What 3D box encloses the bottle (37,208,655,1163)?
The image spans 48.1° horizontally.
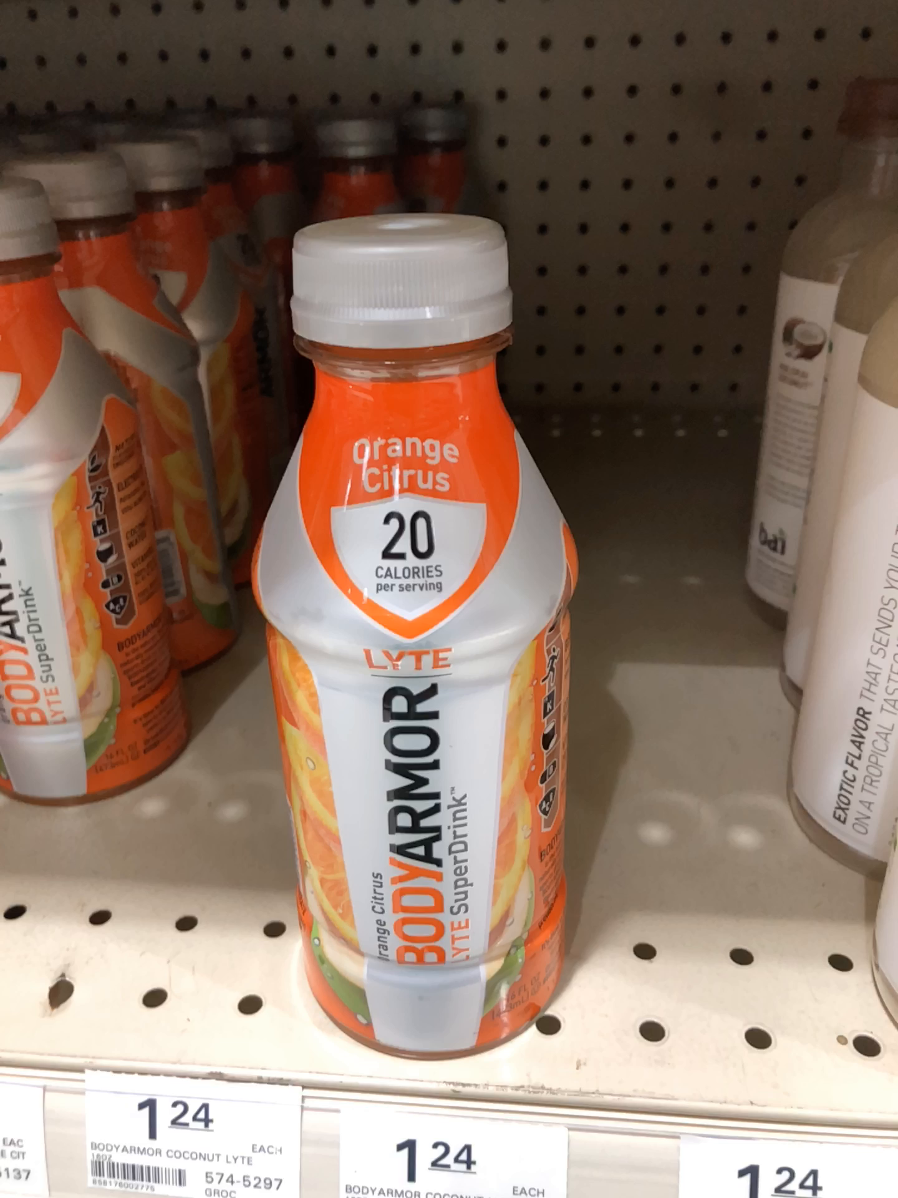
[{"bbox_3d":[-0.009,0.022,0.208,0.080,0.180,0.080,-1,30,1],"label":"bottle"}]
